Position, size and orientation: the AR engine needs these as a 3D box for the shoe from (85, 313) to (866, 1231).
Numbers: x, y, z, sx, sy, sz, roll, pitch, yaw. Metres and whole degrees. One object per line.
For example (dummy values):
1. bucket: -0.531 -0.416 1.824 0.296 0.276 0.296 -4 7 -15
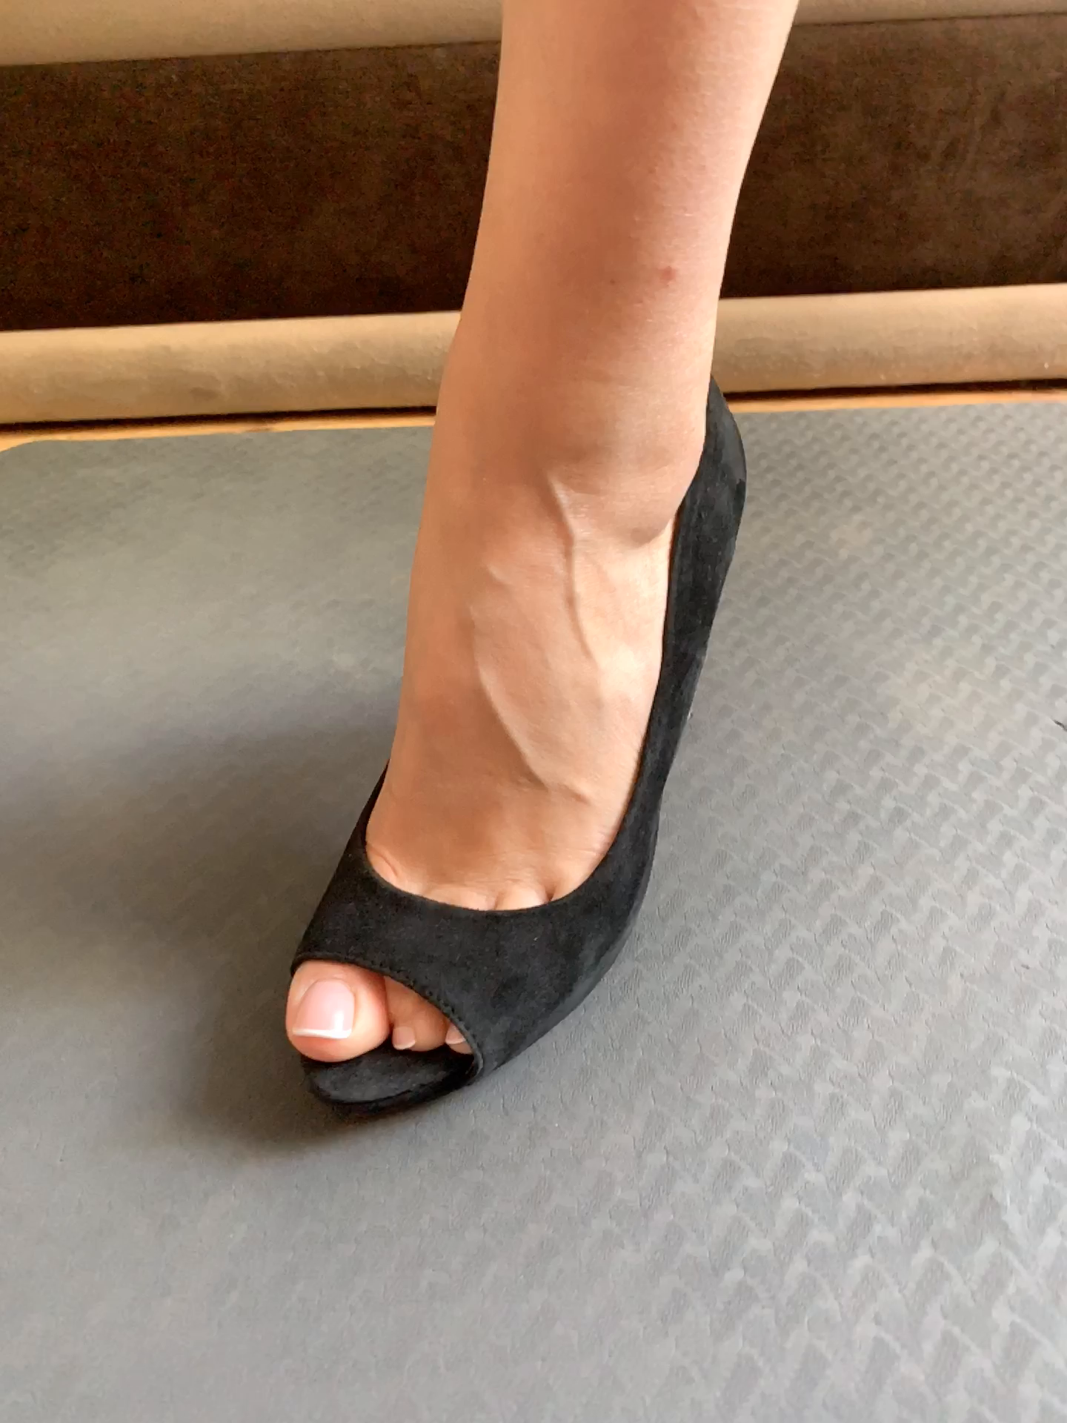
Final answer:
1. shoe: 0.007 -0.002 0.309 0.090 0.139 0.211 18 43 24
